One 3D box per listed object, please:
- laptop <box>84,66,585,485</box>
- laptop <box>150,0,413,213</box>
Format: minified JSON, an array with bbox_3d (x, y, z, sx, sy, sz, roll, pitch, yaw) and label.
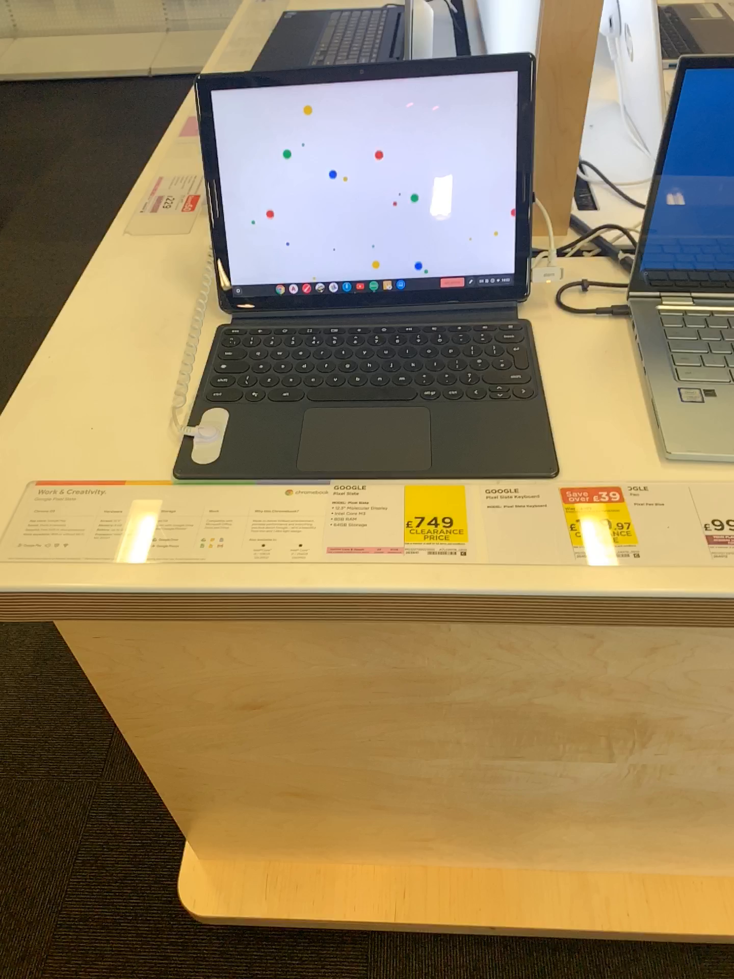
[{"bbox_3d":[-0.012,-0.177,0.595,0.285,0.187,0.295,-1,46,3],"label":"laptop"},{"bbox_3d":[-0.067,-0.508,0.876,0.232,0.222,0.321,1,47,4],"label":"laptop"}]
